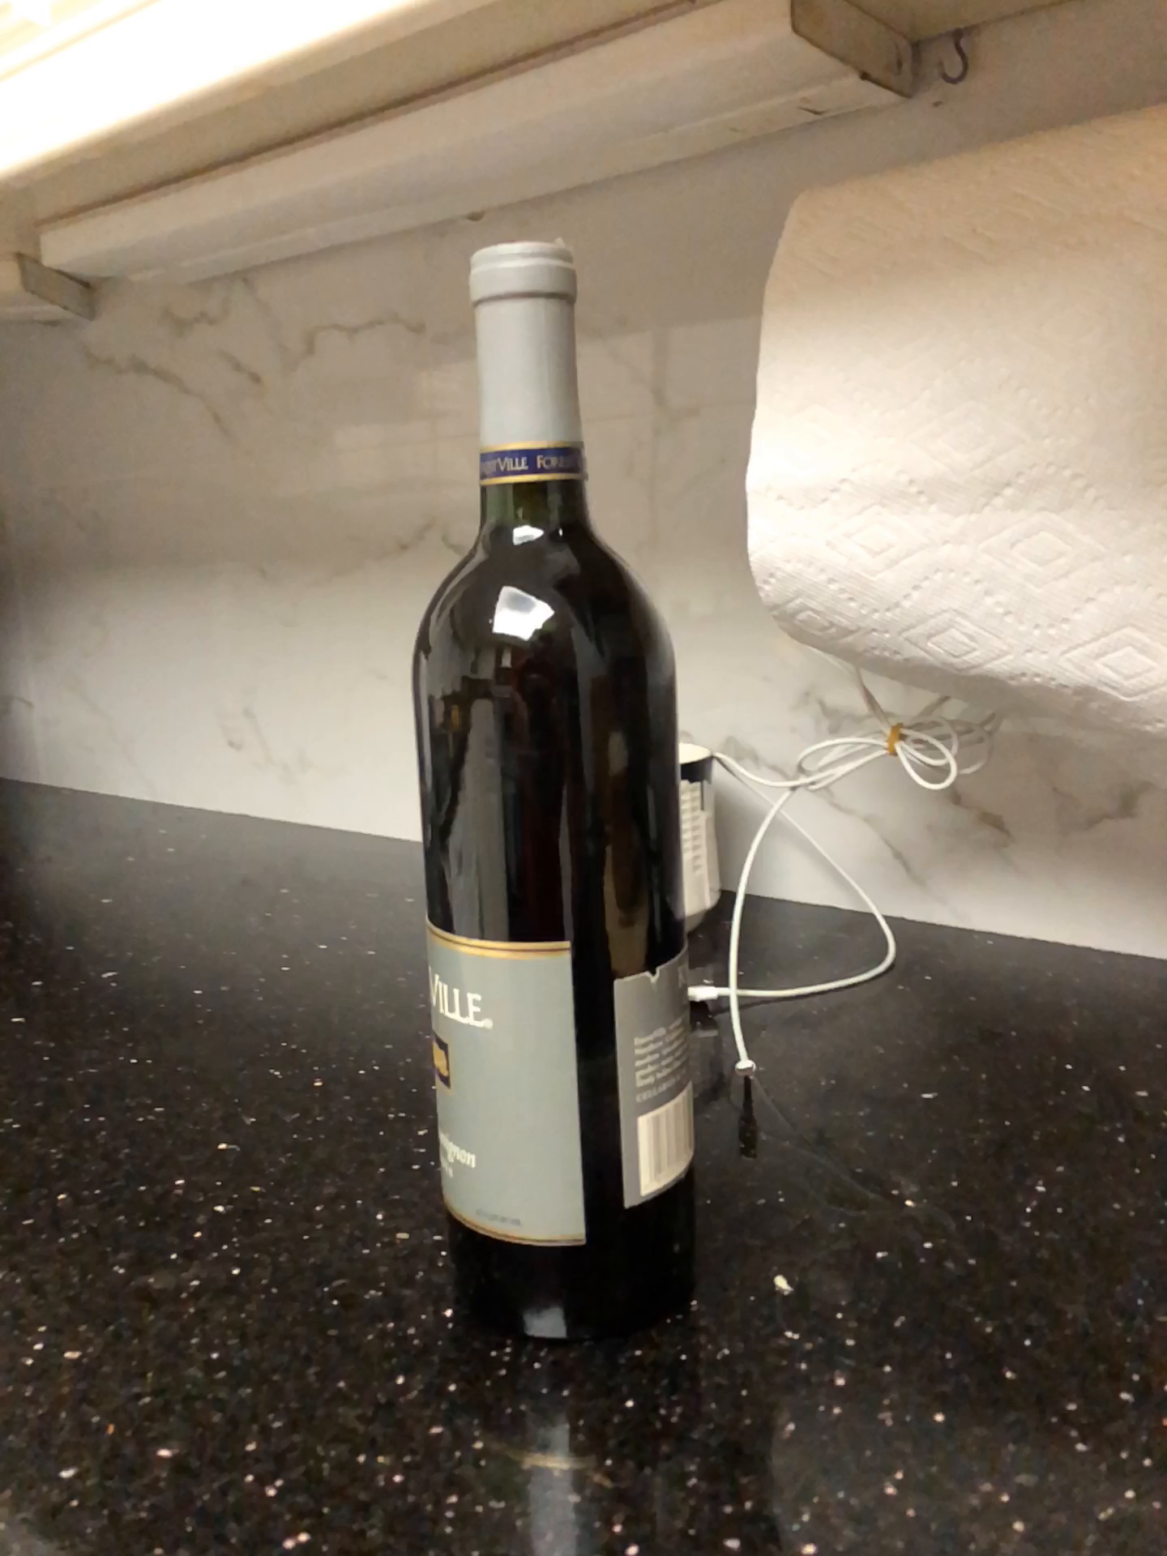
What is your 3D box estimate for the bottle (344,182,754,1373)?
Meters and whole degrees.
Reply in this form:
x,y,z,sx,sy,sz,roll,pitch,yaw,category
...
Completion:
x,y,z,sx,sy,sz,roll,pitch,yaw,category
-0.007,0.003,0.362,0.090,0.299,0.080,-3,10,-4,bottle
